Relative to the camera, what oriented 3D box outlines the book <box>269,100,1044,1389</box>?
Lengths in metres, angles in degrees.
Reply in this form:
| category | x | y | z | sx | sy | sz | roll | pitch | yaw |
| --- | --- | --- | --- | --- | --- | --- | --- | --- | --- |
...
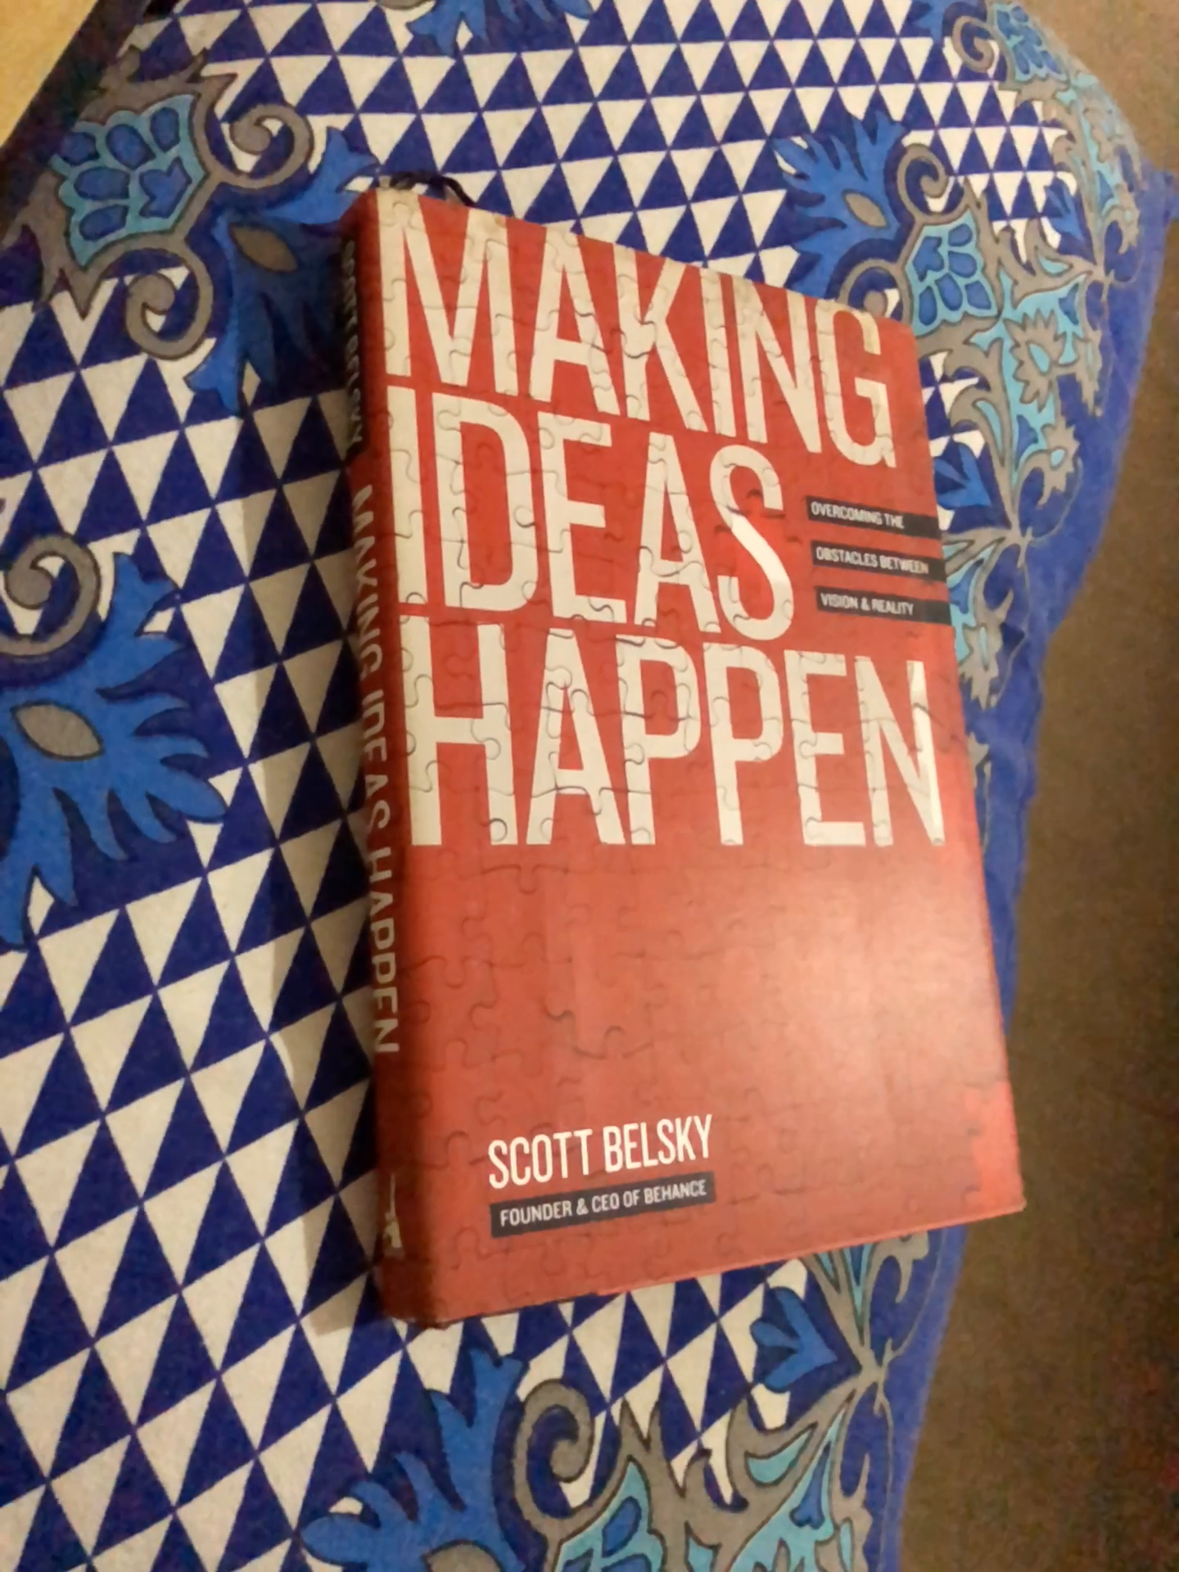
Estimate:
| category | x | y | z | sx | sy | sz | roll | pitch | yaw |
| --- | --- | --- | --- | --- | --- | --- | --- | --- | --- |
| book | 0.015 | -0.015 | 0.297 | 0.160 | 0.030 | 0.250 | 2 | 75 | -29 |
